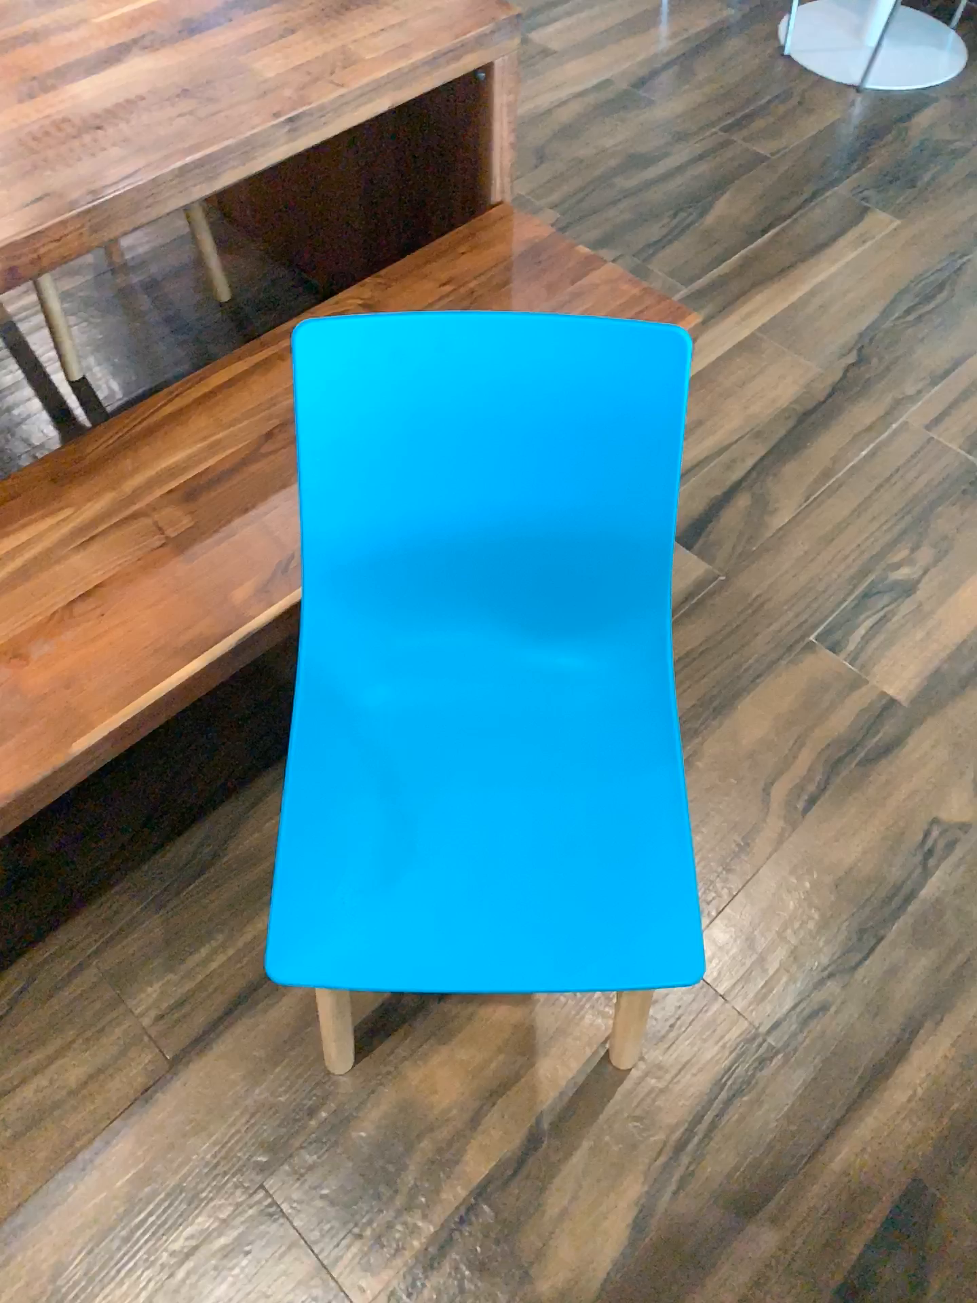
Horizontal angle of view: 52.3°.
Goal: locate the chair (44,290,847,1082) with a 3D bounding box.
[{"bbox_3d":[-0.035,0.082,1.073,0.510,0.666,0.584,0,55,-1],"label":"chair"}]
